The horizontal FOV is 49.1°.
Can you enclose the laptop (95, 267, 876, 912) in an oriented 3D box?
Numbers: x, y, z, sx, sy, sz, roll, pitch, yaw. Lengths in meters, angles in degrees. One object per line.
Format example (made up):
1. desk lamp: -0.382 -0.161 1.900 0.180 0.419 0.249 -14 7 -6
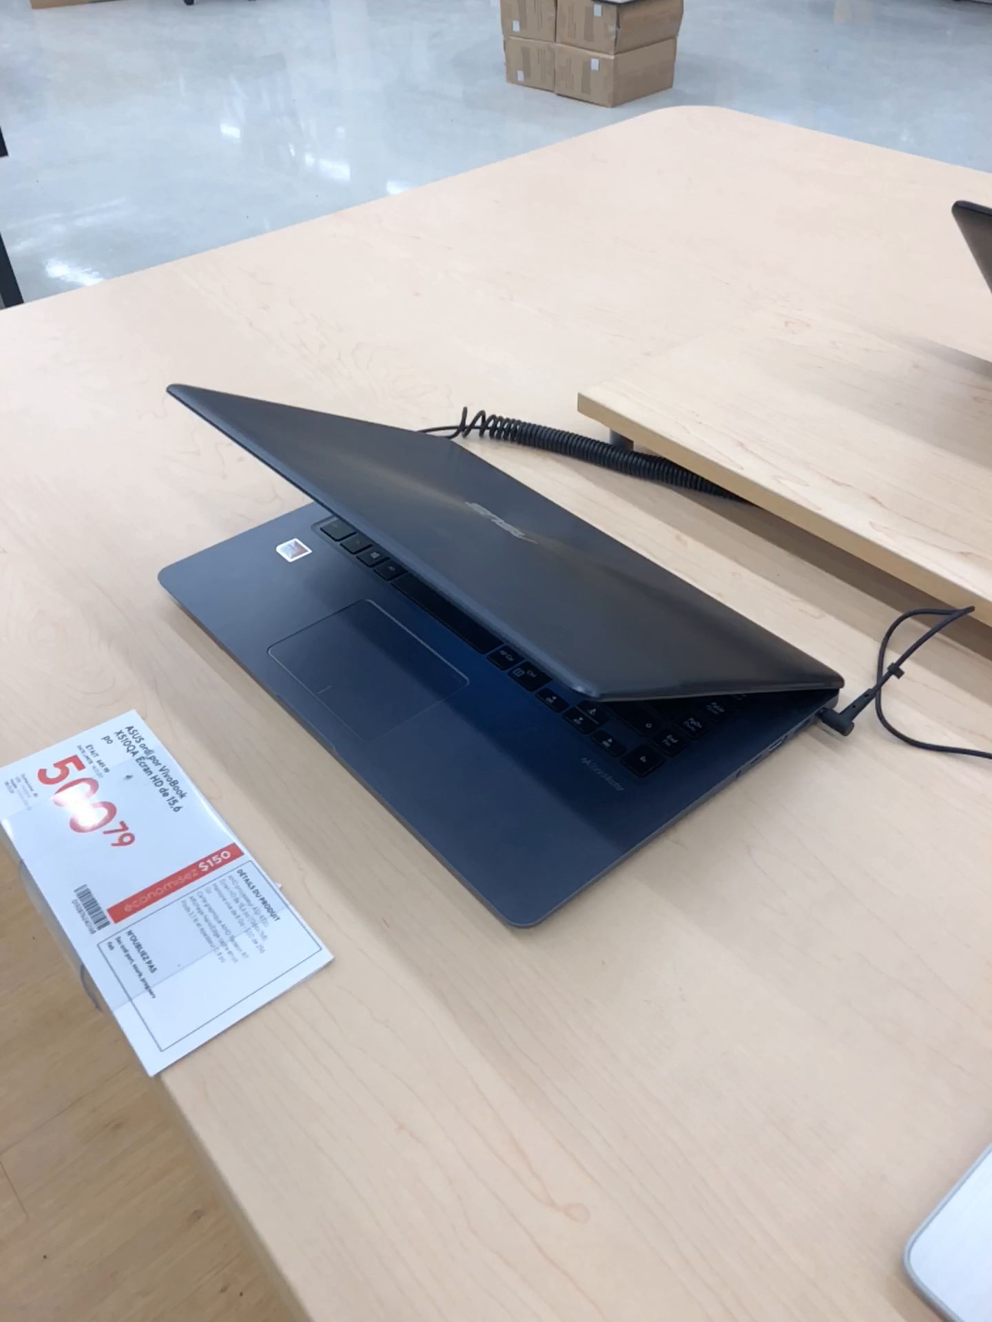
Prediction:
1. laptop: -0.018 -0.072 0.610 0.232 0.136 0.346 -31 50 -28
